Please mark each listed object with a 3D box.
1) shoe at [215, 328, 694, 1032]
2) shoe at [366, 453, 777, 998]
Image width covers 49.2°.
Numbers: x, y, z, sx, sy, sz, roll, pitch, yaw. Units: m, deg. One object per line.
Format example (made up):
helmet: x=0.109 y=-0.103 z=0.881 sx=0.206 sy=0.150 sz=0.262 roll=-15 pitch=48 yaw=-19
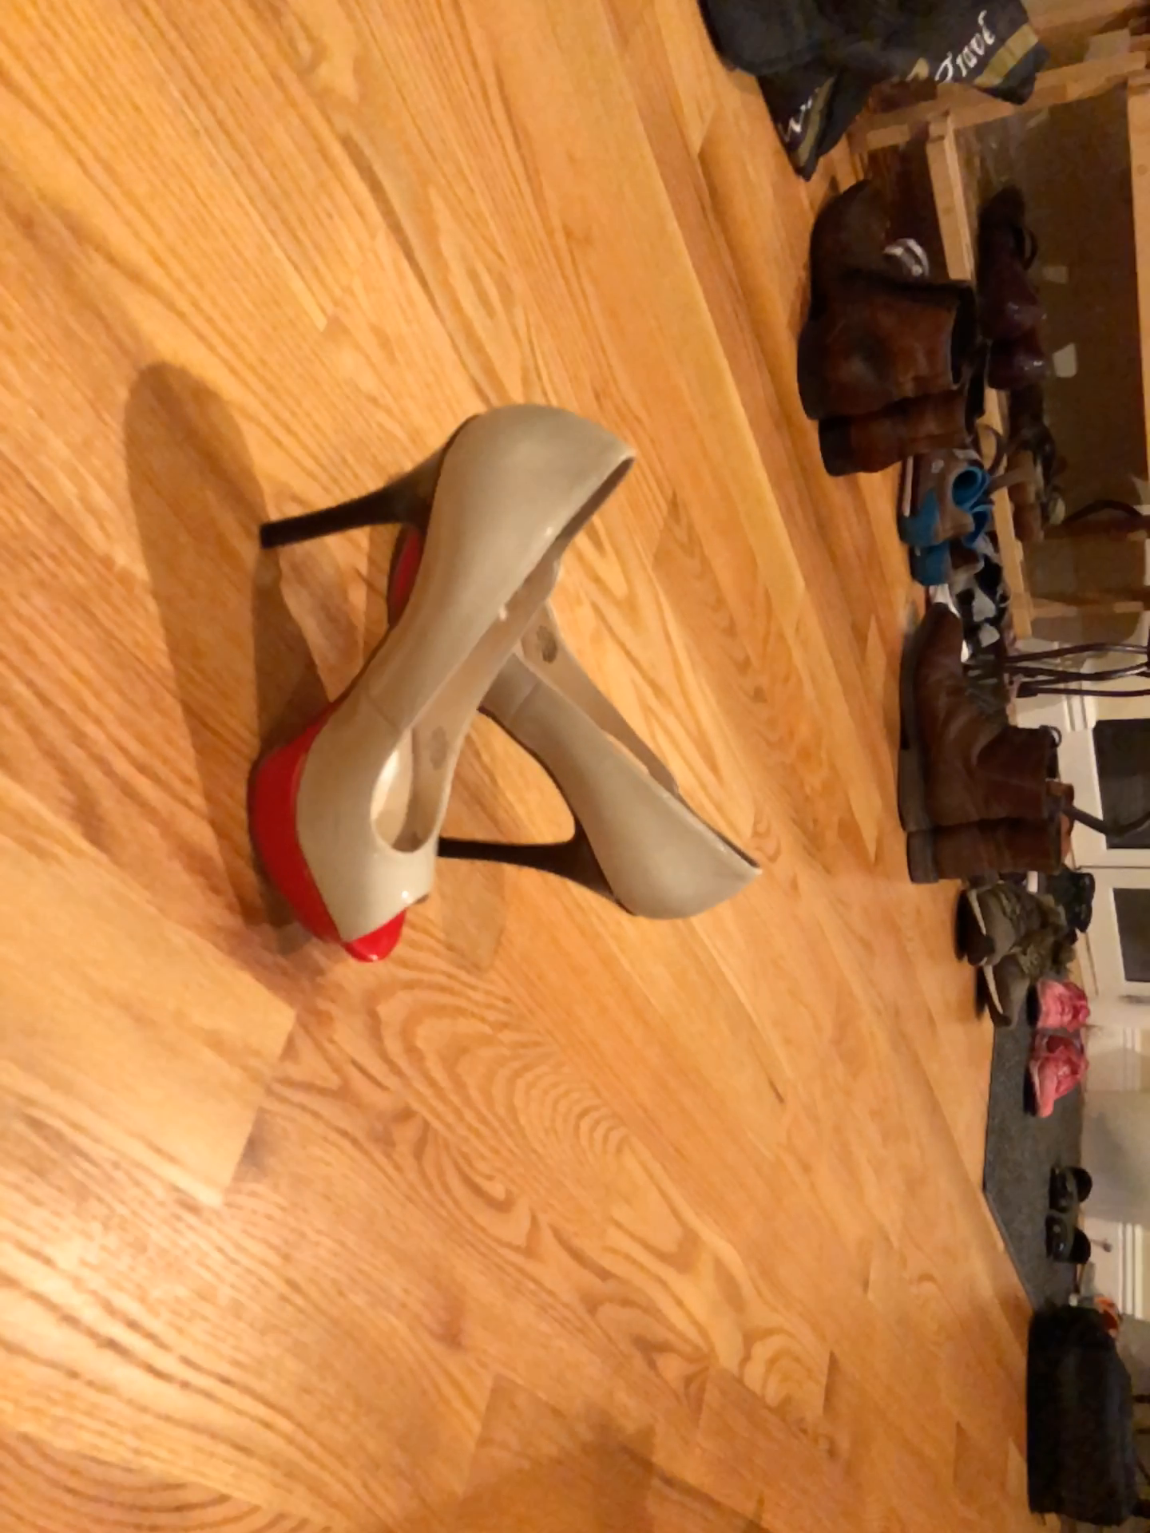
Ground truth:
shoe: x=-0.040 y=-0.027 z=0.450 sx=0.085 sy=0.129 sz=0.215 roll=-13 pitch=100 yaw=-63
shoe: x=0.001 y=-0.018 z=0.573 sx=0.080 sy=0.149 sz=0.220 roll=-17 pitch=104 yaw=-63
